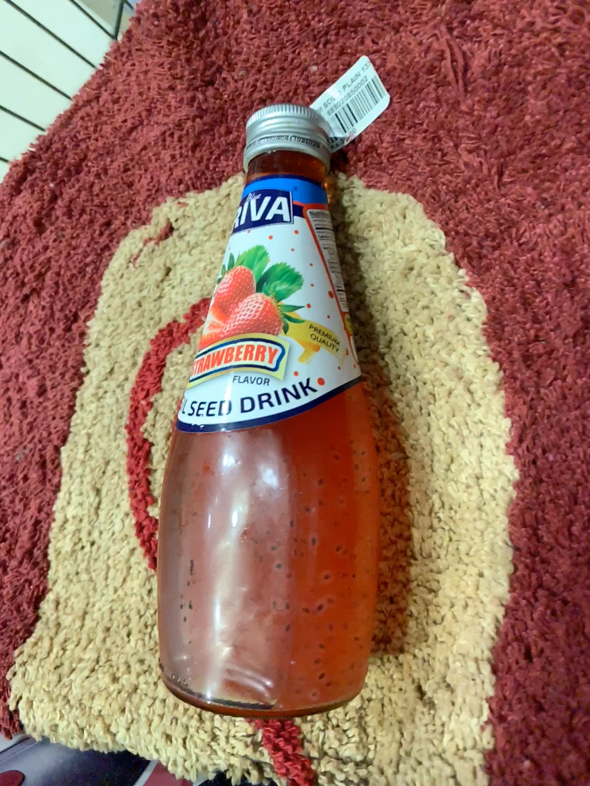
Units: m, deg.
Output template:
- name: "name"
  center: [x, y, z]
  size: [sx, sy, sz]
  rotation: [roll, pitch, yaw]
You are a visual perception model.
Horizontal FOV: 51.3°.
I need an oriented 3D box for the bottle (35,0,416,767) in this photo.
- name: "bottle"
  center: [-0.014, -0.006, 0.163]
  size: [0.070, 0.050, 0.160]
  rotation: [0, 81, 29]
